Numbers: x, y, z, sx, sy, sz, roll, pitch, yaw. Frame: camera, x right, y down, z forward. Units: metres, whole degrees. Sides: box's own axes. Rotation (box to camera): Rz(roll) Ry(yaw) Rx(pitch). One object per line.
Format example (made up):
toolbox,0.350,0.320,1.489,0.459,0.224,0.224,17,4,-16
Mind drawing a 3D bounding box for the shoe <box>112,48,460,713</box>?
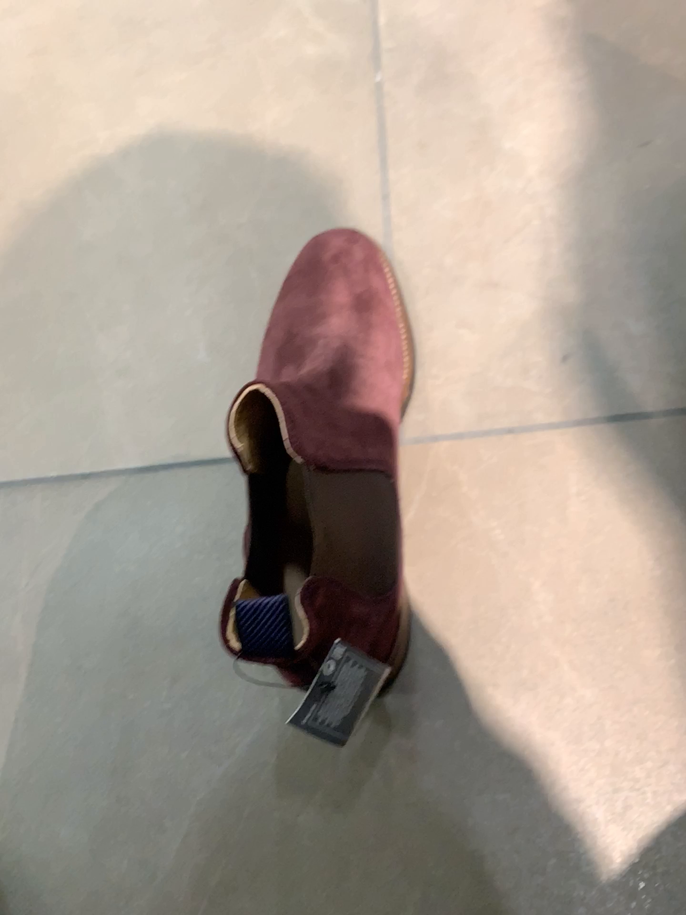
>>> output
shoe,-0.018,-0.029,0.379,0.114,0.162,0.299,-8,67,11
